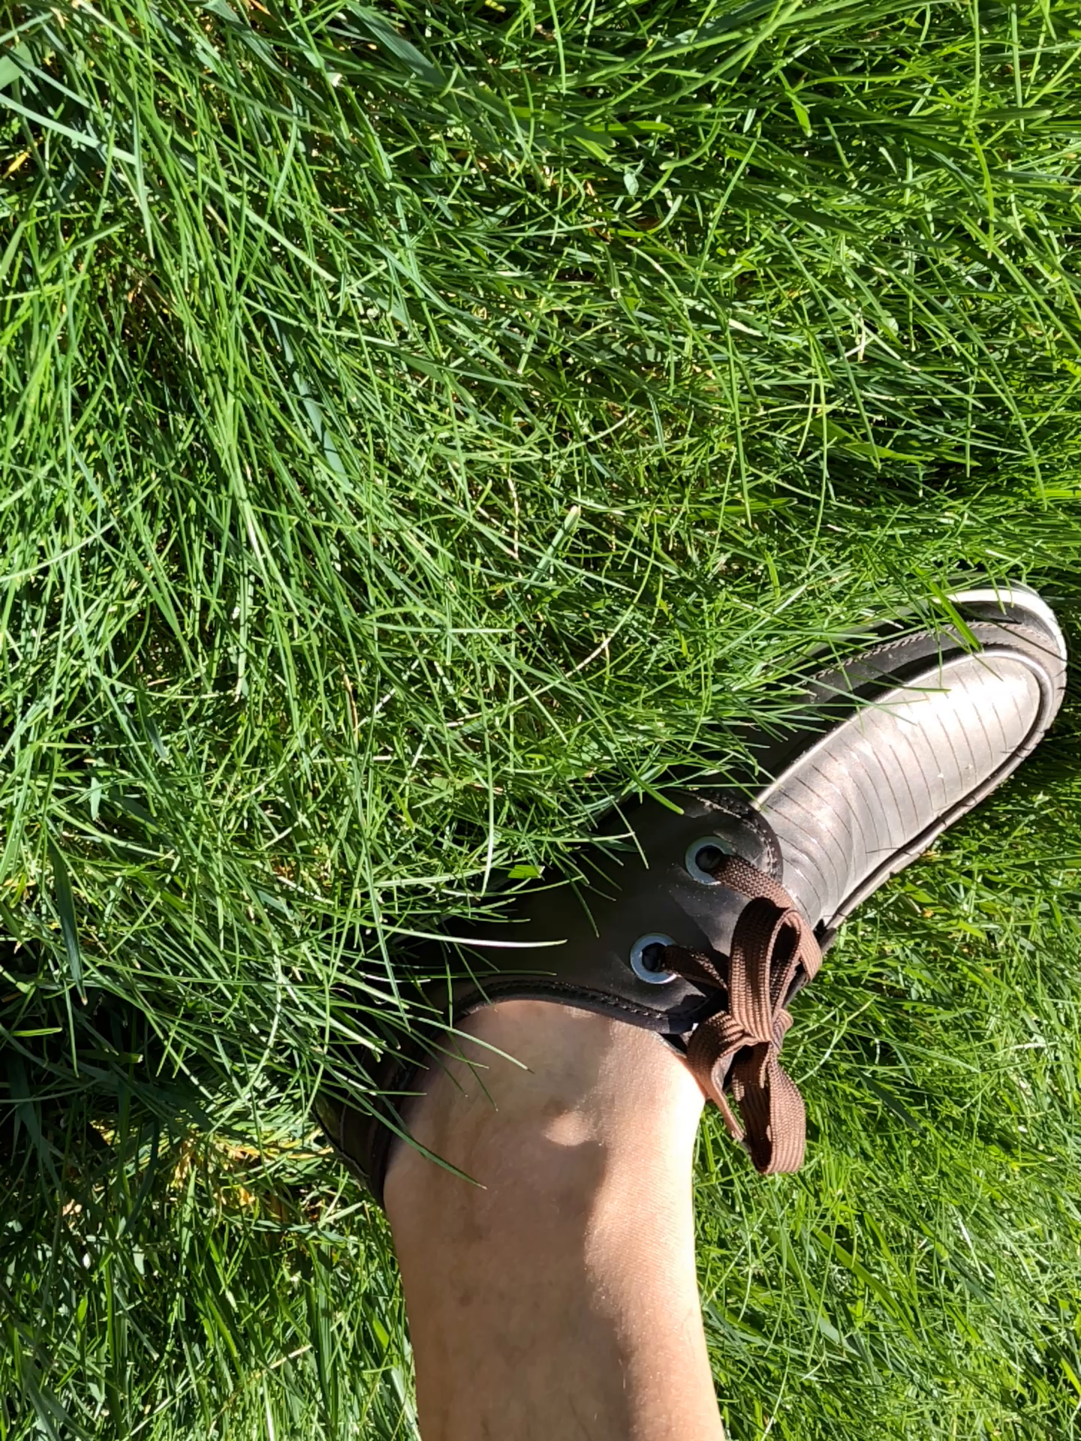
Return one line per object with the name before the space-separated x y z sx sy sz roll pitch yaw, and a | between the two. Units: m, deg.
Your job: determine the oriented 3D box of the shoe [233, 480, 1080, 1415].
shoe | 0.061 0.060 0.378 0.293 0.107 0.110 -34 116 -2
